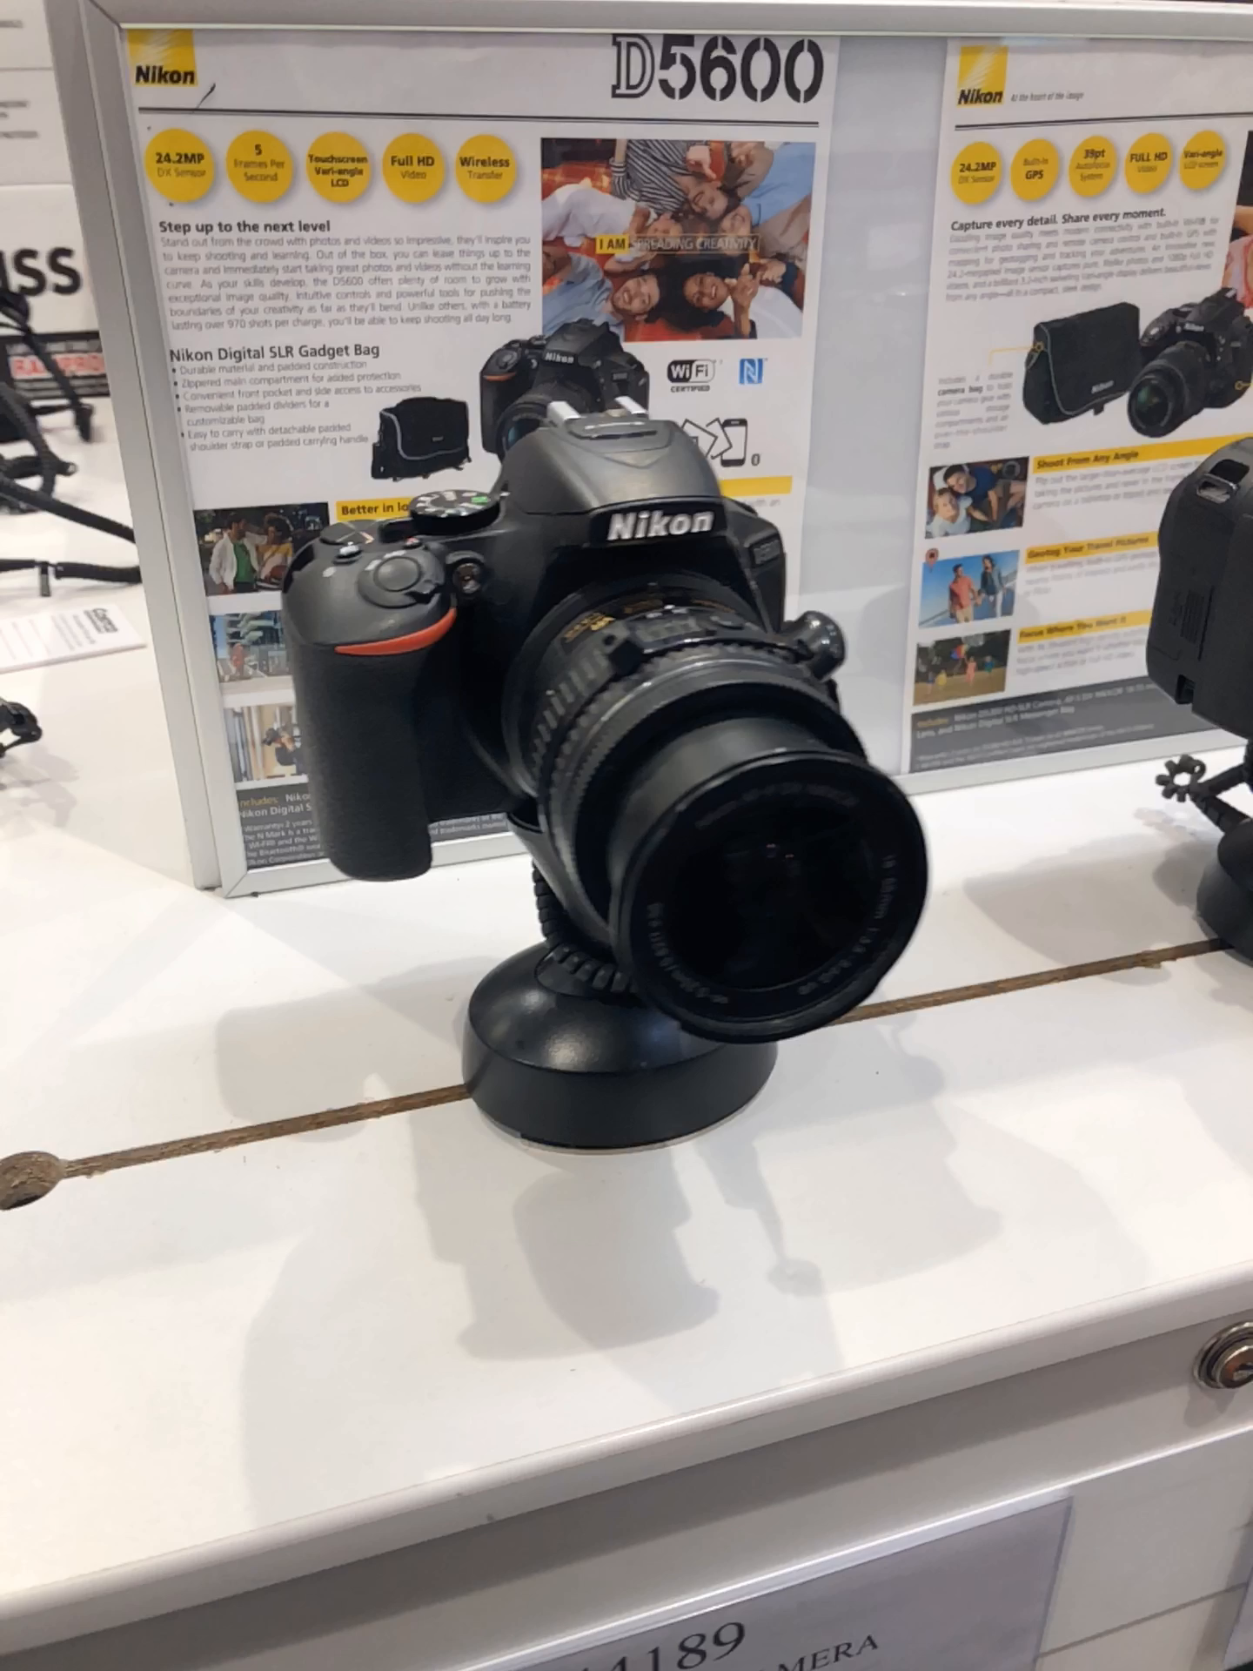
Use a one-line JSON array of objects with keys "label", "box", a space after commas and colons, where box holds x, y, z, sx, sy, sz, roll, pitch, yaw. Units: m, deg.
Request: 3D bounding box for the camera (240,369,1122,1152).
[{"label": "camera", "box": [-0.006, -0.034, 0.305, 0.140, 0.099, 0.161, -7, 29, -13]}]
